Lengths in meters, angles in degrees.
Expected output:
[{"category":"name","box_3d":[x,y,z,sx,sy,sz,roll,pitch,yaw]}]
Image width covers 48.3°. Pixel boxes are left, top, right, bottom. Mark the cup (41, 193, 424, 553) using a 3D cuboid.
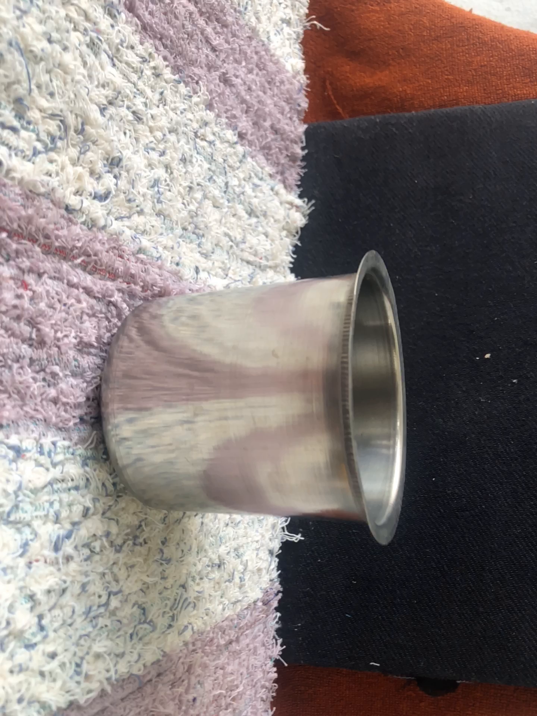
[{"category":"cup","box_3d":[-0.001,0.015,0.226,0.101,0.099,0.100,-1,90,-68]}]
